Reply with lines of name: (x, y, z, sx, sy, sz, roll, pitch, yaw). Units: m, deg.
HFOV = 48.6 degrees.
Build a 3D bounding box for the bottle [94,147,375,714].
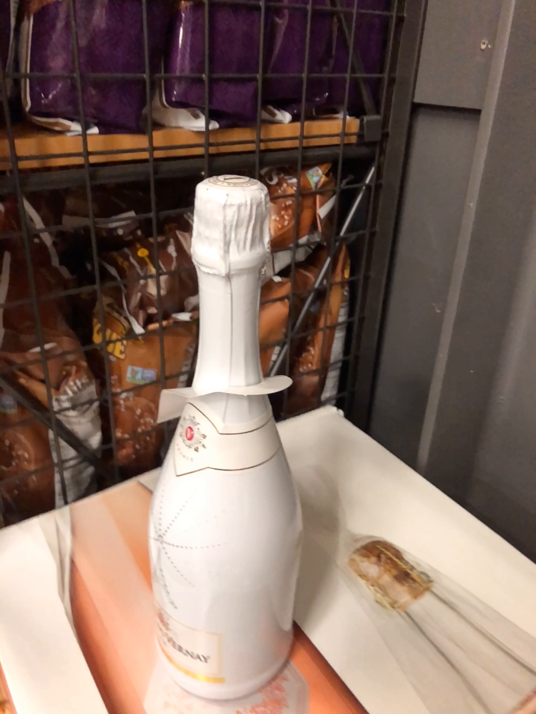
bottle: (-0.021, 0.053, 0.336, 0.094, 0.310, 0.086, 2, 27, -1)
